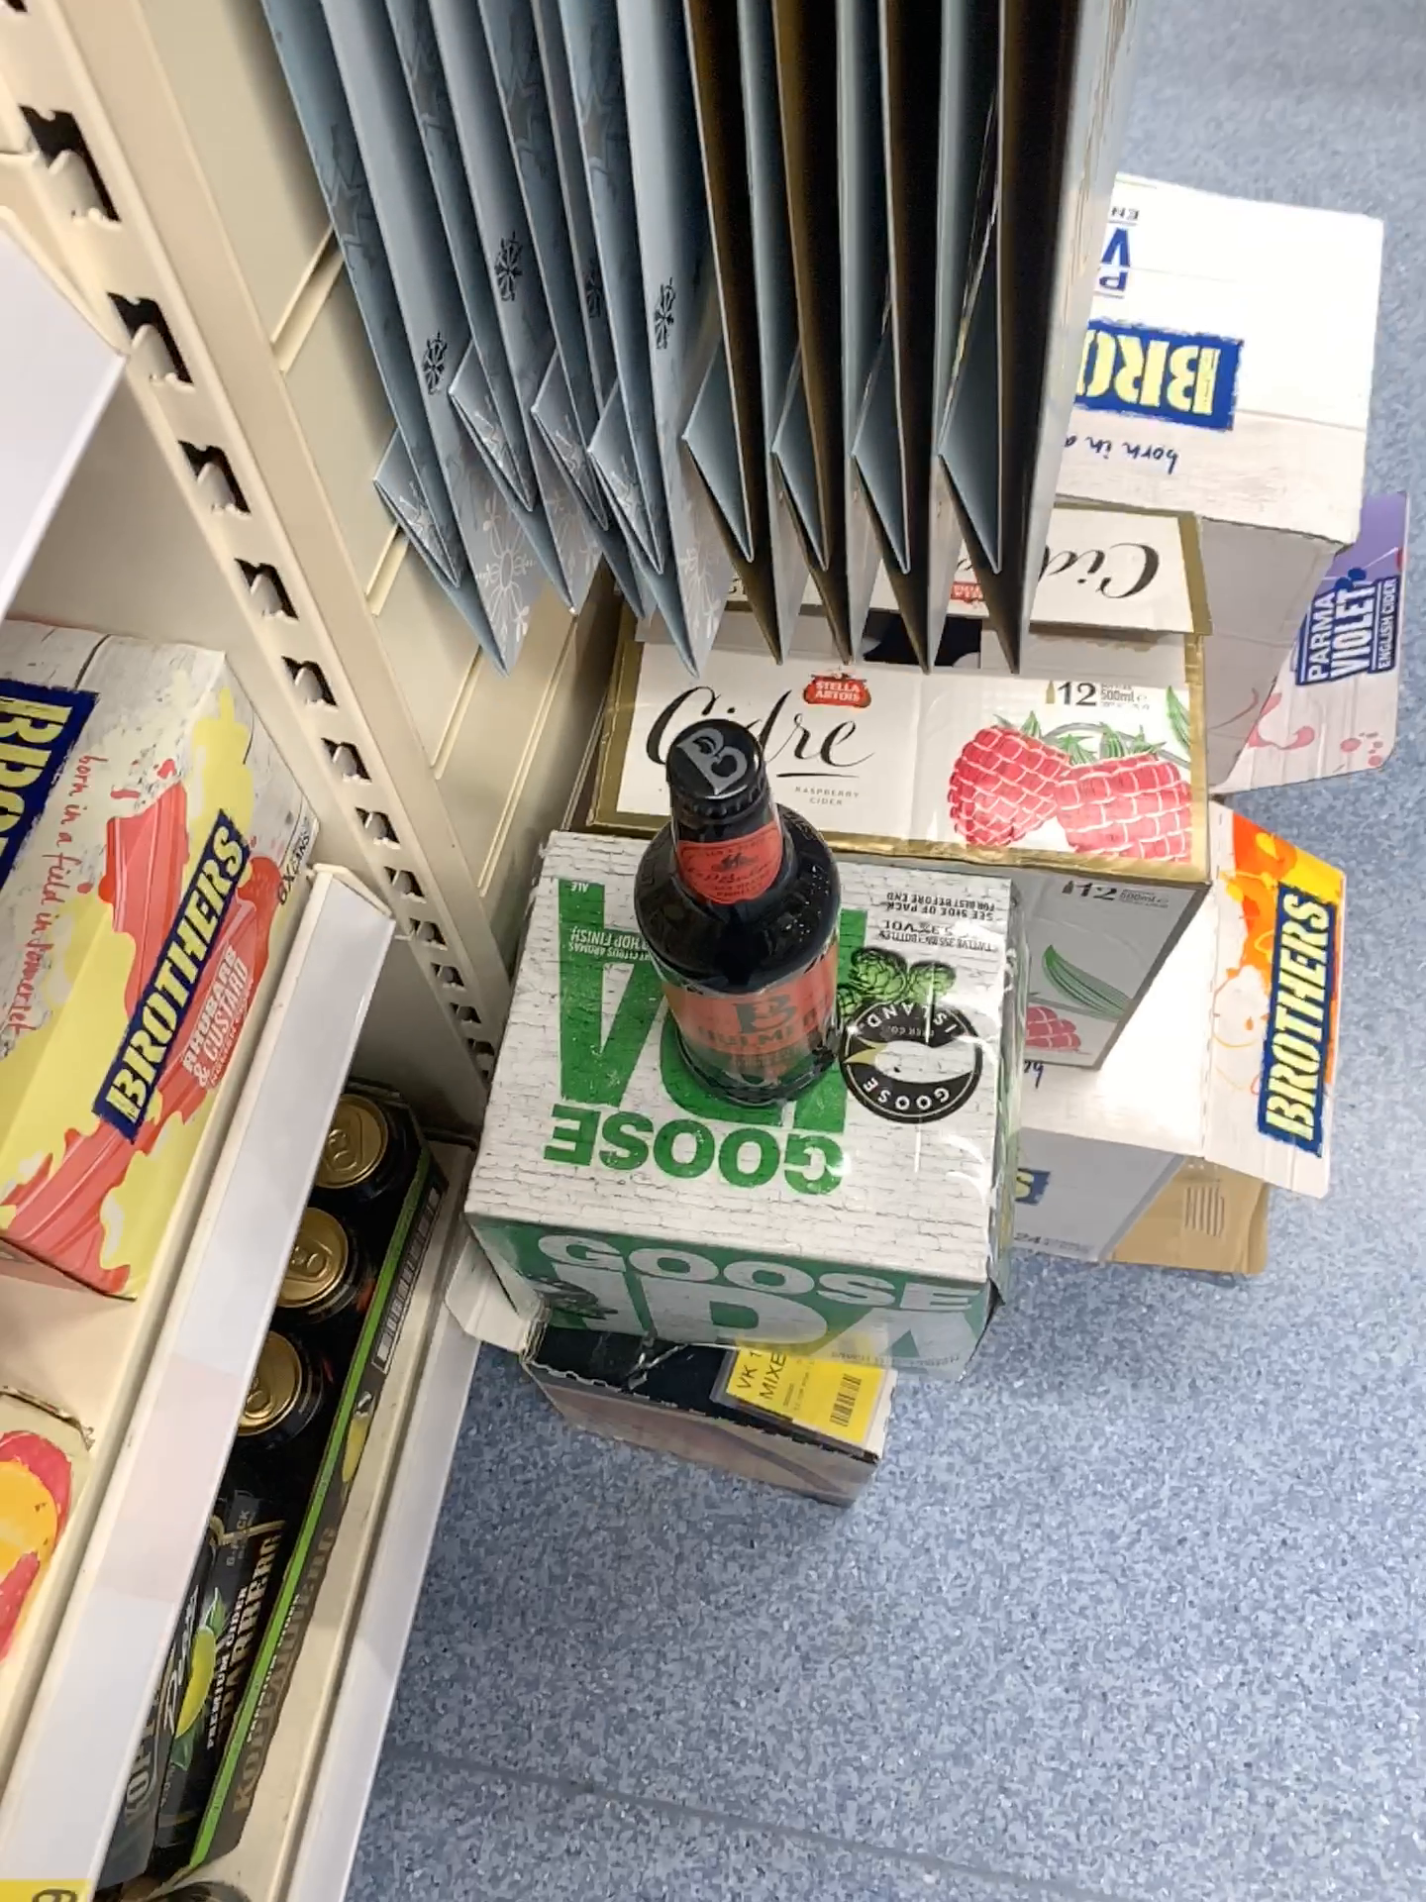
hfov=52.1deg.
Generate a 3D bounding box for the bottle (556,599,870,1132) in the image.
[{"bbox_3d":[0.007,-0.015,0.524,0.070,0.235,0.070,-2,65,4],"label":"bottle"}]
